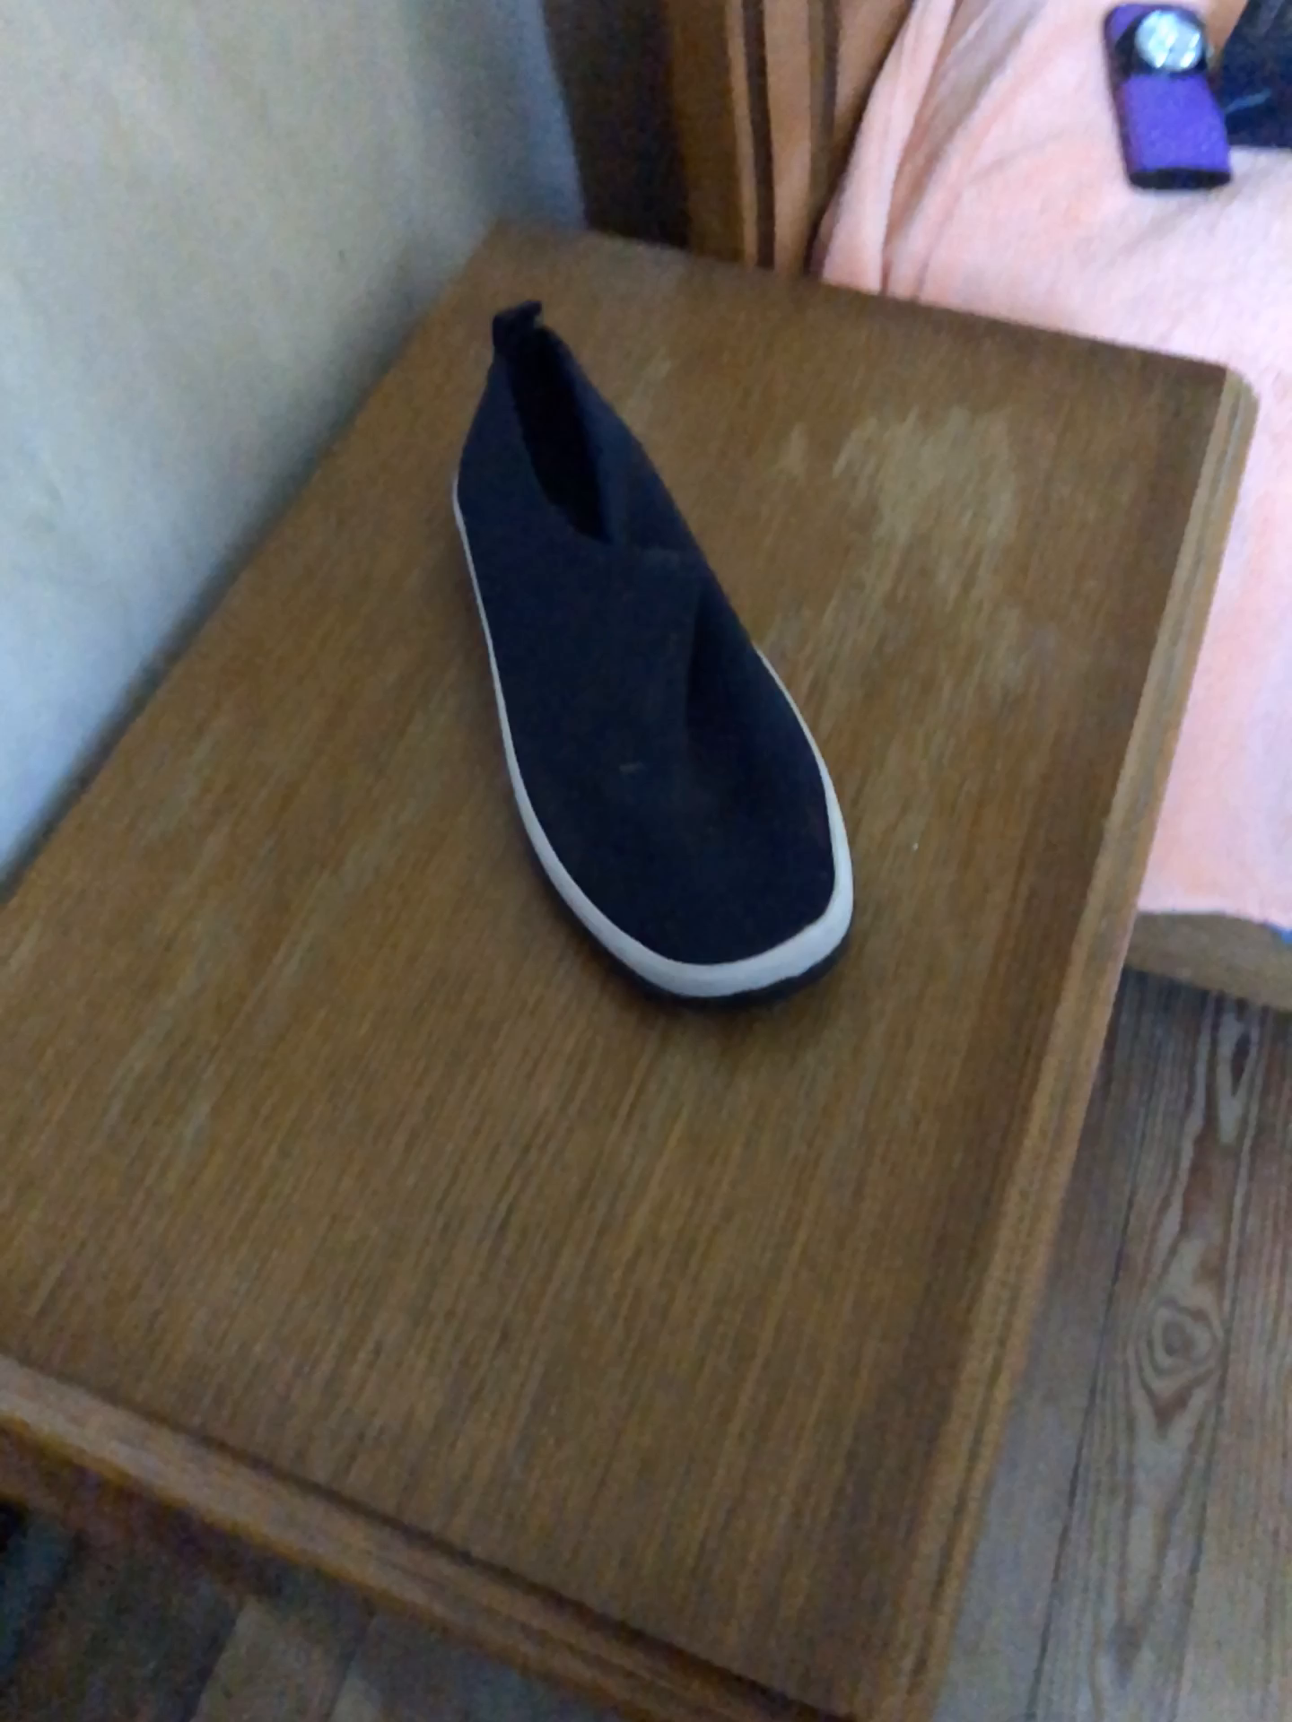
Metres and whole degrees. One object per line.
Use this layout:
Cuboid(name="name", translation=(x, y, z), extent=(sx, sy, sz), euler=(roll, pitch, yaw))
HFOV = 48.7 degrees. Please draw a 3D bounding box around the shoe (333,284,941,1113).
Cuboid(name="shoe", translation=(-0.014, -0.065, 0.459), extent=(0.100, 0.080, 0.261), euler=(-19, 57, -8))
